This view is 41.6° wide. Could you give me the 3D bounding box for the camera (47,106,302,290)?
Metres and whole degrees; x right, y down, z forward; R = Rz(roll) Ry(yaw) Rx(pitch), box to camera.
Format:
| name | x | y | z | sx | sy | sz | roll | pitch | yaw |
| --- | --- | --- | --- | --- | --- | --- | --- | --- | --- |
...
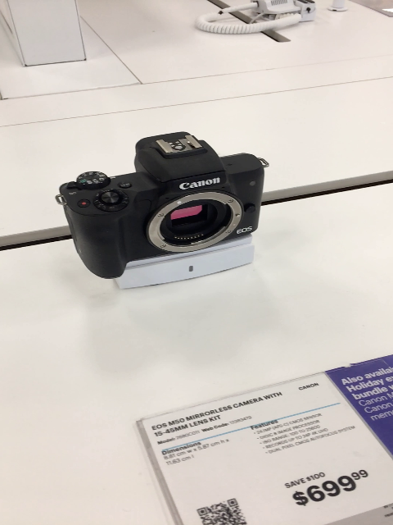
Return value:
| name | x | y | z | sx | sy | sz | roll | pitch | yaw |
| --- | --- | --- | --- | --- | --- | --- | --- | --- | --- |
| camera | -0.011 | -0.044 | 0.336 | 0.130 | 0.075 | 0.057 | -25 | 52 | -23 |
